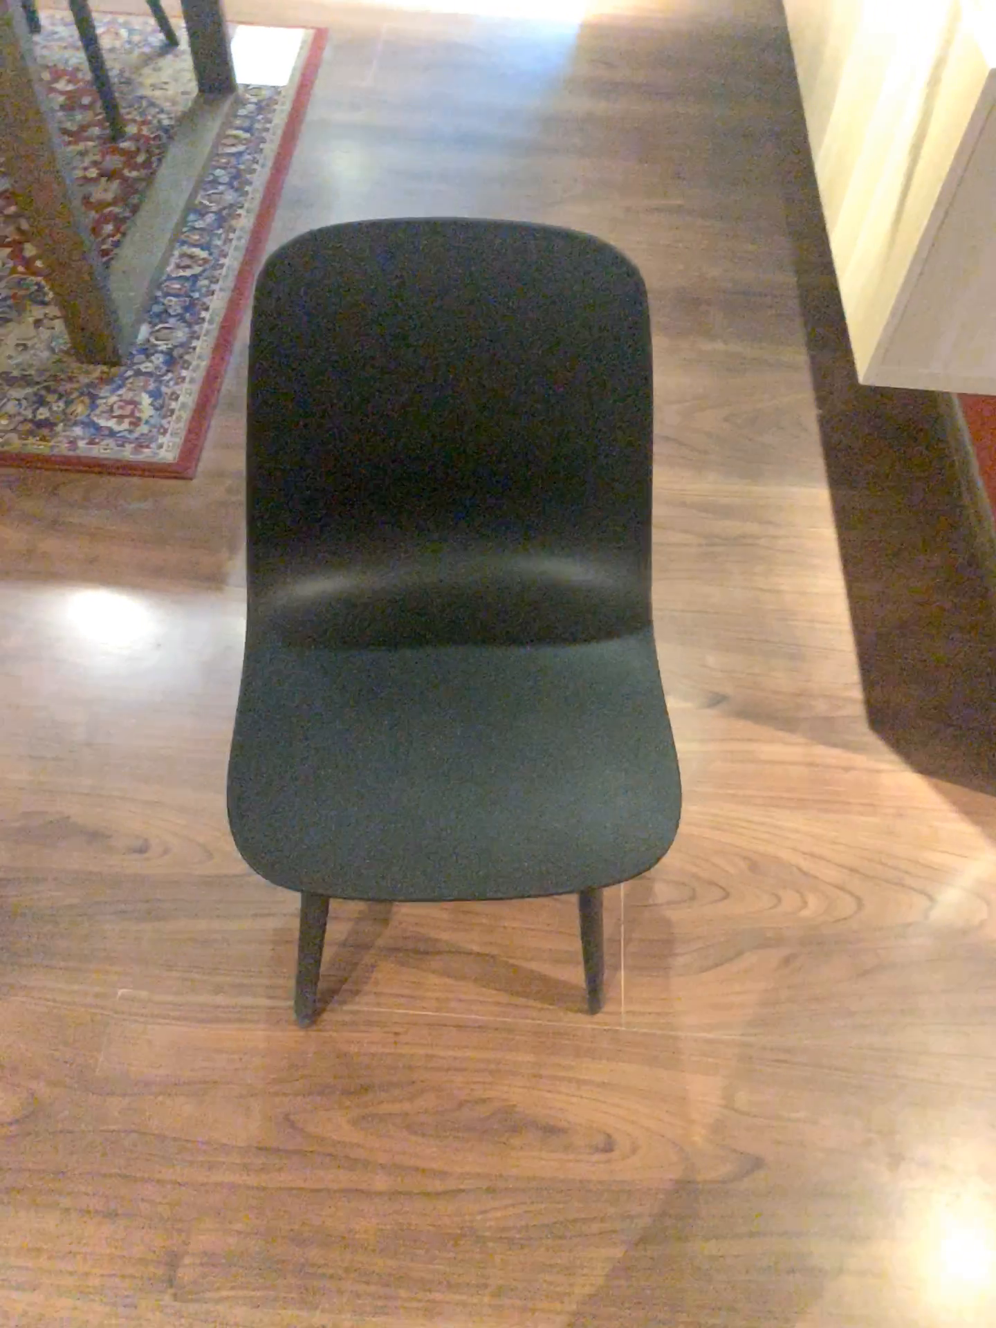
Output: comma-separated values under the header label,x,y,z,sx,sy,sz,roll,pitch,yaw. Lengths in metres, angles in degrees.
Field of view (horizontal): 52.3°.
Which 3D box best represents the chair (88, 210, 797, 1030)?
label,x,y,z,sx,sy,sz,roll,pitch,yaw
chair,-0.057,0.008,1.076,0.440,0.718,0.531,-1,55,-3
